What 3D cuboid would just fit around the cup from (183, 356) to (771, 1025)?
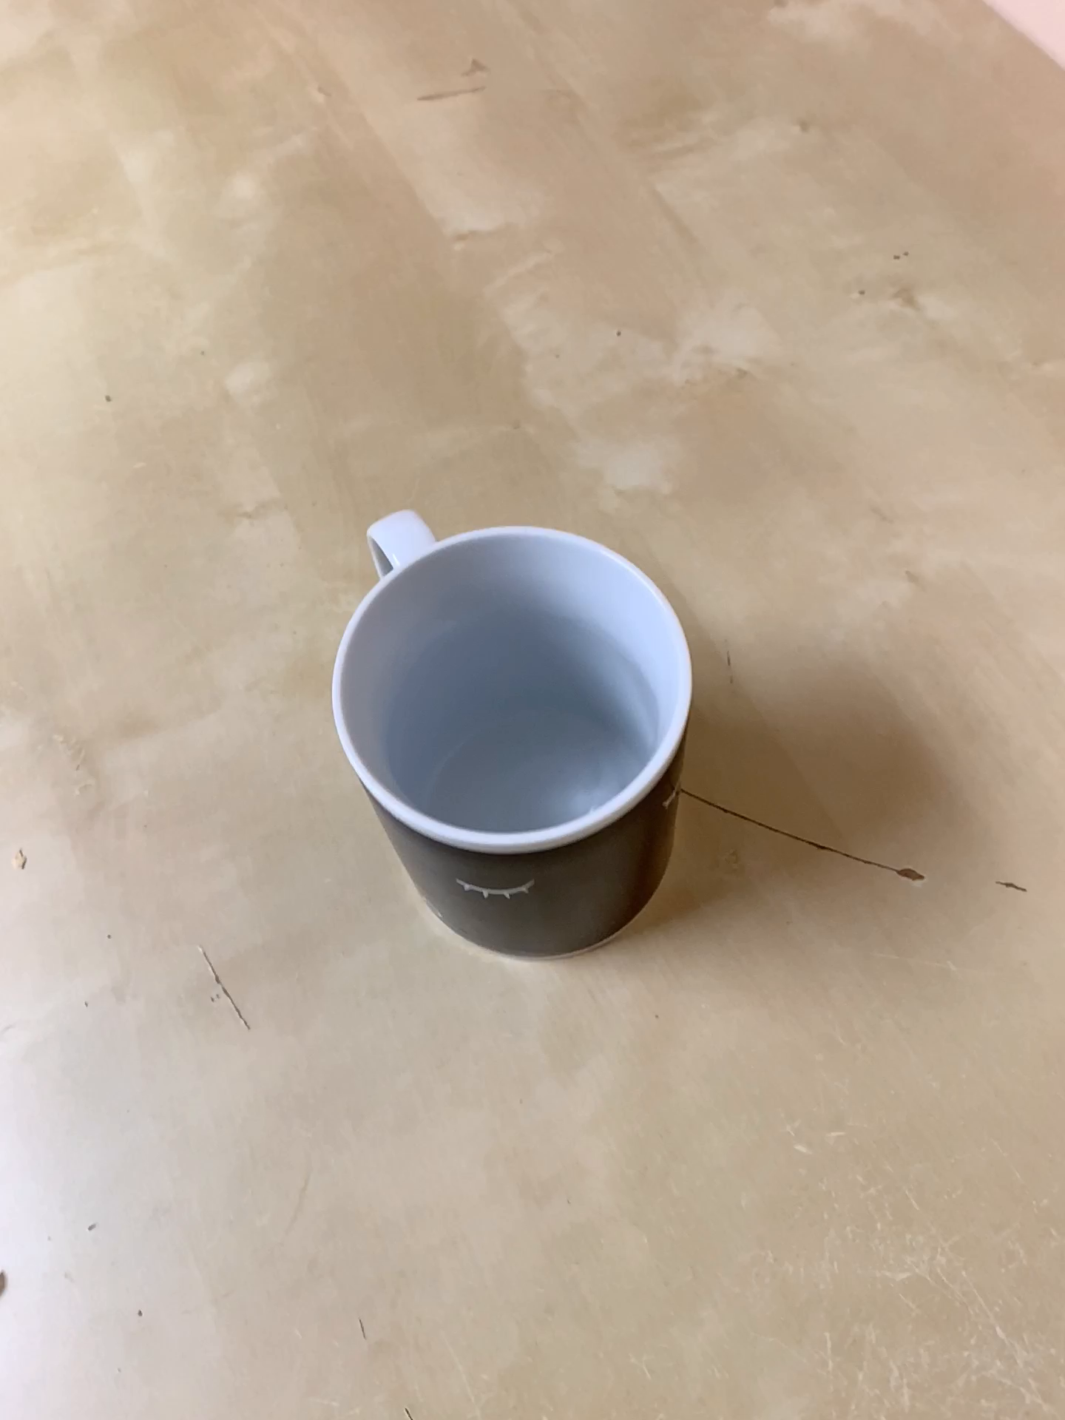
[{"bbox_3d":[-0.014,-0.002,0.292,0.083,0.101,0.122,-30,65,-10],"label":"cup"}]
